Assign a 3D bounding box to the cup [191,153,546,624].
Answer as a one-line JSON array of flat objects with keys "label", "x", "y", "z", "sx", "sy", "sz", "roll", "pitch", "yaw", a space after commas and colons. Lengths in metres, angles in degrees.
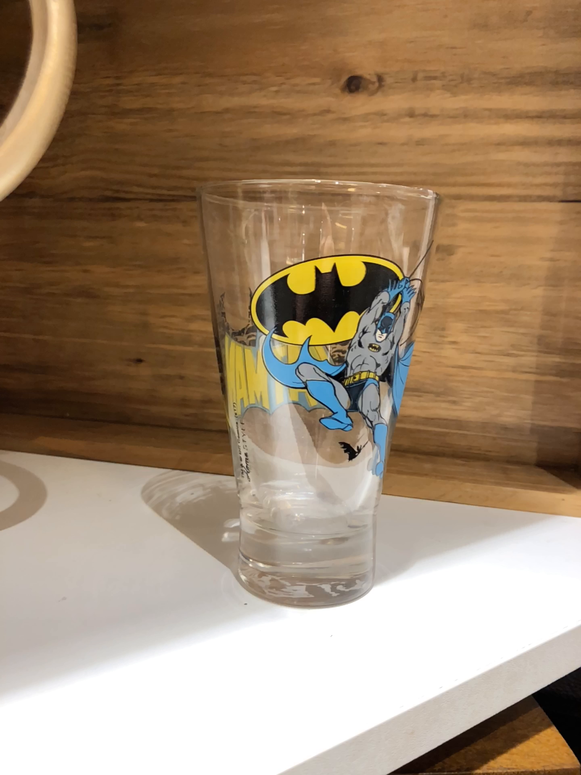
[{"label": "cup", "x": 0.020, "y": -0.006, "z": 0.230, "sx": 0.090, "sy": 0.130, "sz": 0.080, "roll": -3, "pitch": 11, "yaw": -25}]
